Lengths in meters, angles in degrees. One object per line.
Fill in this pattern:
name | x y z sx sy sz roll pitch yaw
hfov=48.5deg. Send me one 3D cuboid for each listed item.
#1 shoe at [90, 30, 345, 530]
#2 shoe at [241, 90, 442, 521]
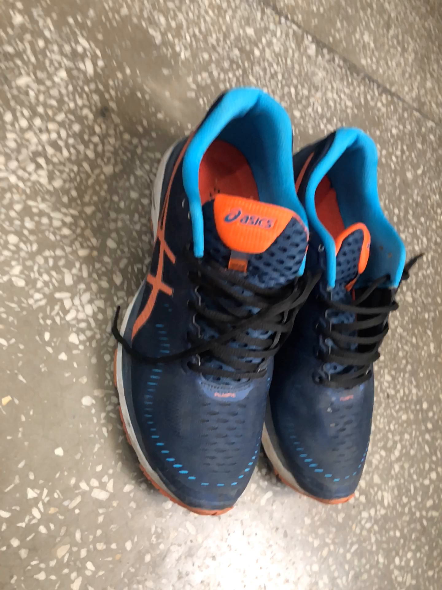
shoe | -0.002 -0.008 0.335 0.118 0.100 0.288 11 70 -27
shoe | 0.093 0.010 0.385 0.118 0.100 0.288 9 71 -27
